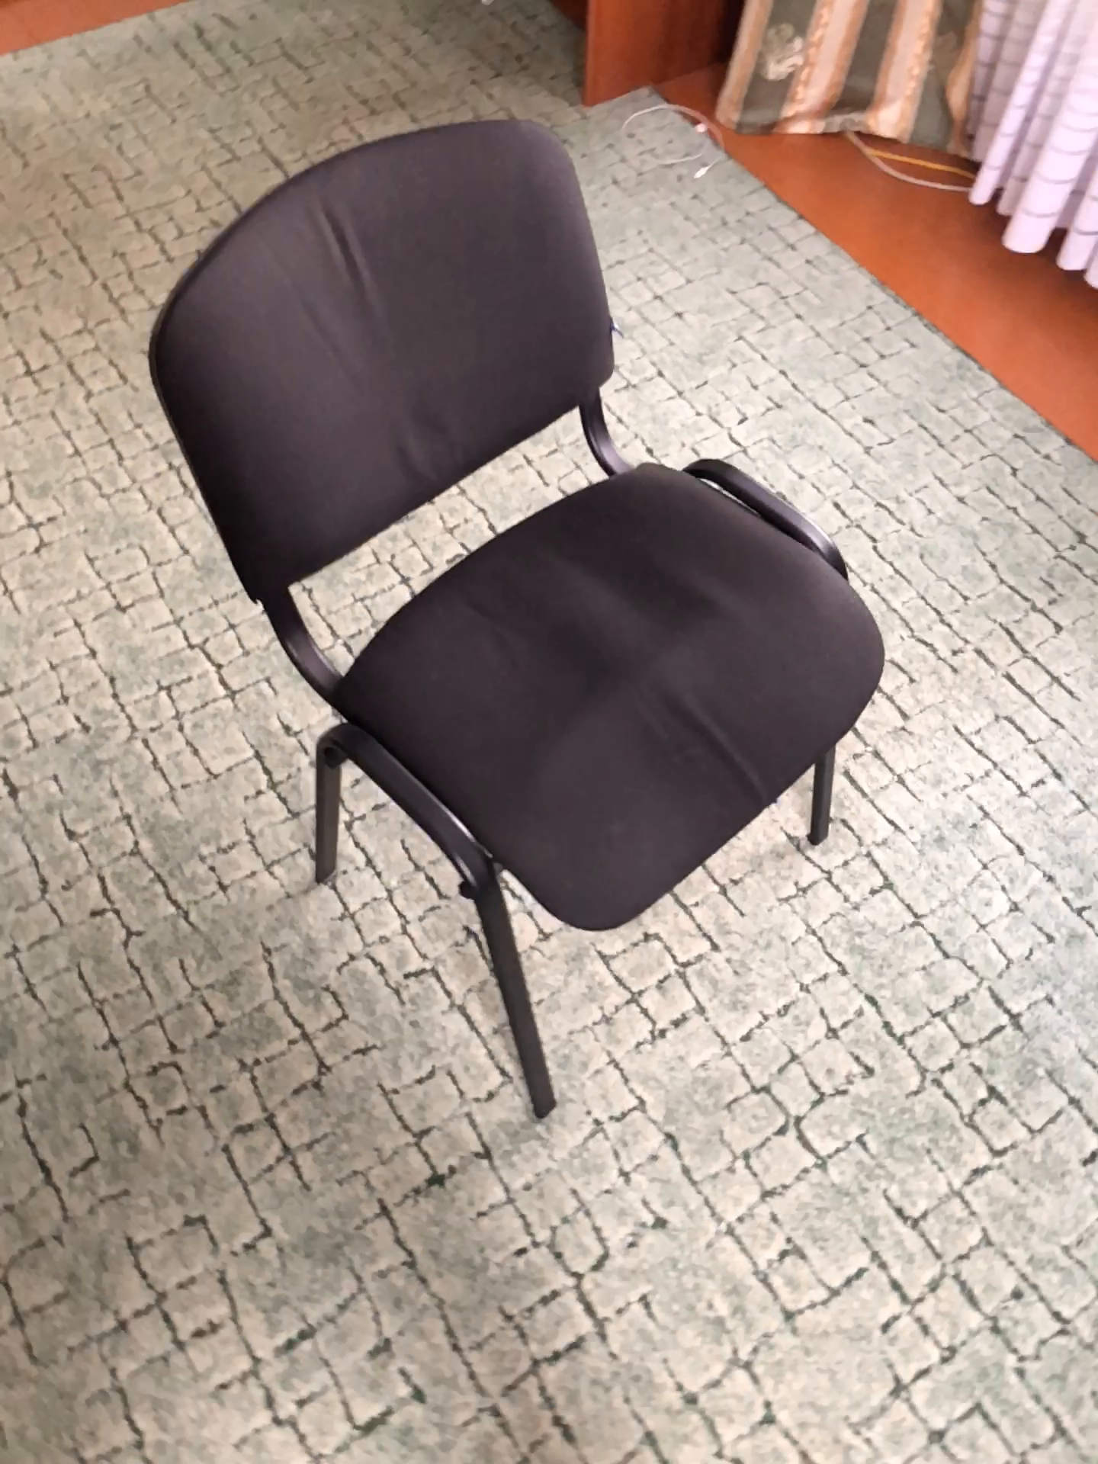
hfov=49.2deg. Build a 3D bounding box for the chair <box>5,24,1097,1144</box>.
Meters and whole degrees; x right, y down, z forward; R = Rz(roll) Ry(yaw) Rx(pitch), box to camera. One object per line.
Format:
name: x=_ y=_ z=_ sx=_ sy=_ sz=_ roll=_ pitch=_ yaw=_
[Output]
chair: x=-0.003 y=-0.105 z=1.235 sx=0.582 sy=0.785 sz=0.602 roll=-39 pitch=66 yaw=-23
